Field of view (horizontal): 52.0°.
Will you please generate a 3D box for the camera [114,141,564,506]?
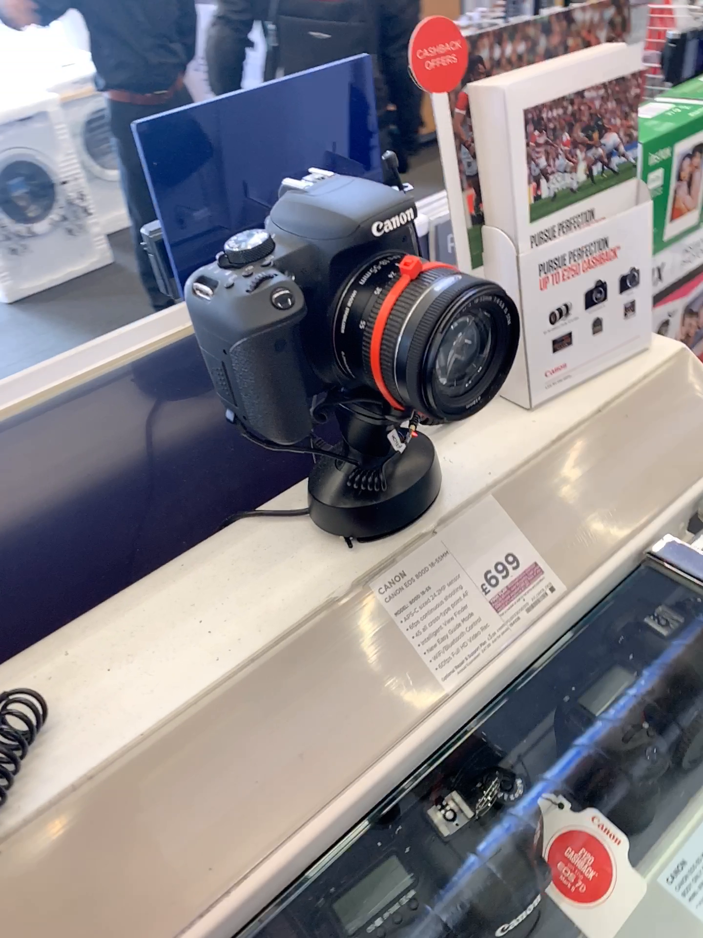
[{"bbox_3d":[-0.002,-0.082,0.342,0.141,0.089,0.141,27,50,37],"label":"camera"}]
